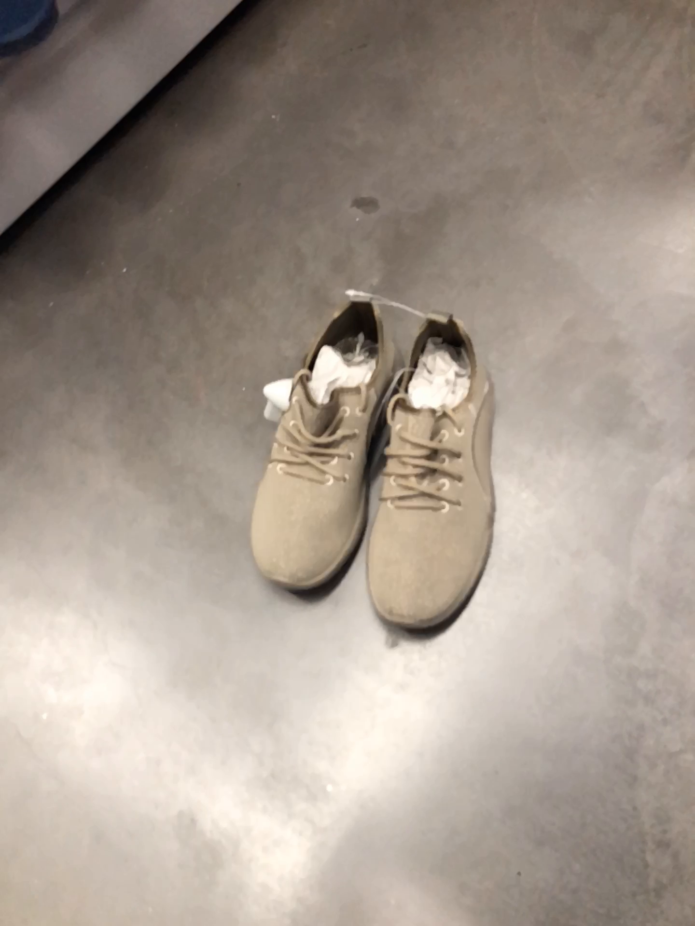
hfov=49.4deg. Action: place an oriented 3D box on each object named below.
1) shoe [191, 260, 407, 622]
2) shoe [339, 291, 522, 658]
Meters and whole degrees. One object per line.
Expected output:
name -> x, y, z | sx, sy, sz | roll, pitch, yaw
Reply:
shoe -> -0.024, -0.019, 0.574 | 0.090, 0.110, 0.241 | 10, 66, 10
shoe -> 0.067, 0.006, 0.560 | 0.100, 0.110, 0.241 | 5, 65, 8
